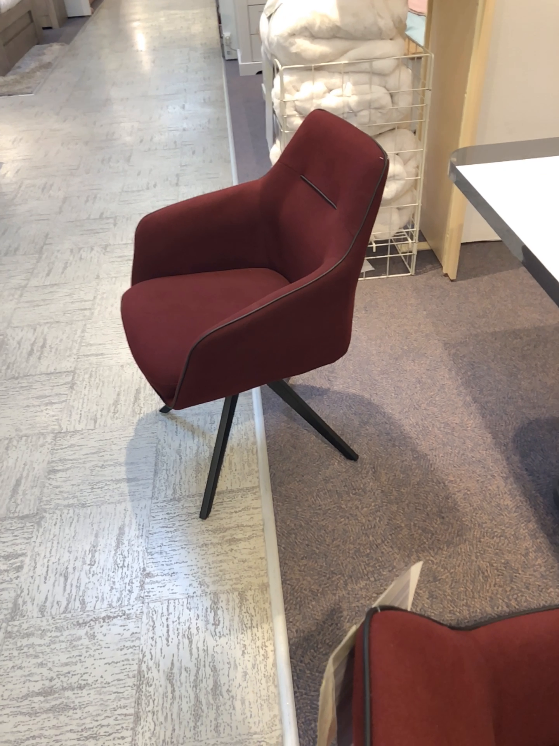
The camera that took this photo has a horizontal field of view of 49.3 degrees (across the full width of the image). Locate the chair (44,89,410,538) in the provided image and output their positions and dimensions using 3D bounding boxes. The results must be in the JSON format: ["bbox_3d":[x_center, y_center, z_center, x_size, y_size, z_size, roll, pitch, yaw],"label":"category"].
[{"bbox_3d":[-0.124,-0.160,1.424,0.571,0.736,0.582,-16,40,-15],"label":"chair"}]
